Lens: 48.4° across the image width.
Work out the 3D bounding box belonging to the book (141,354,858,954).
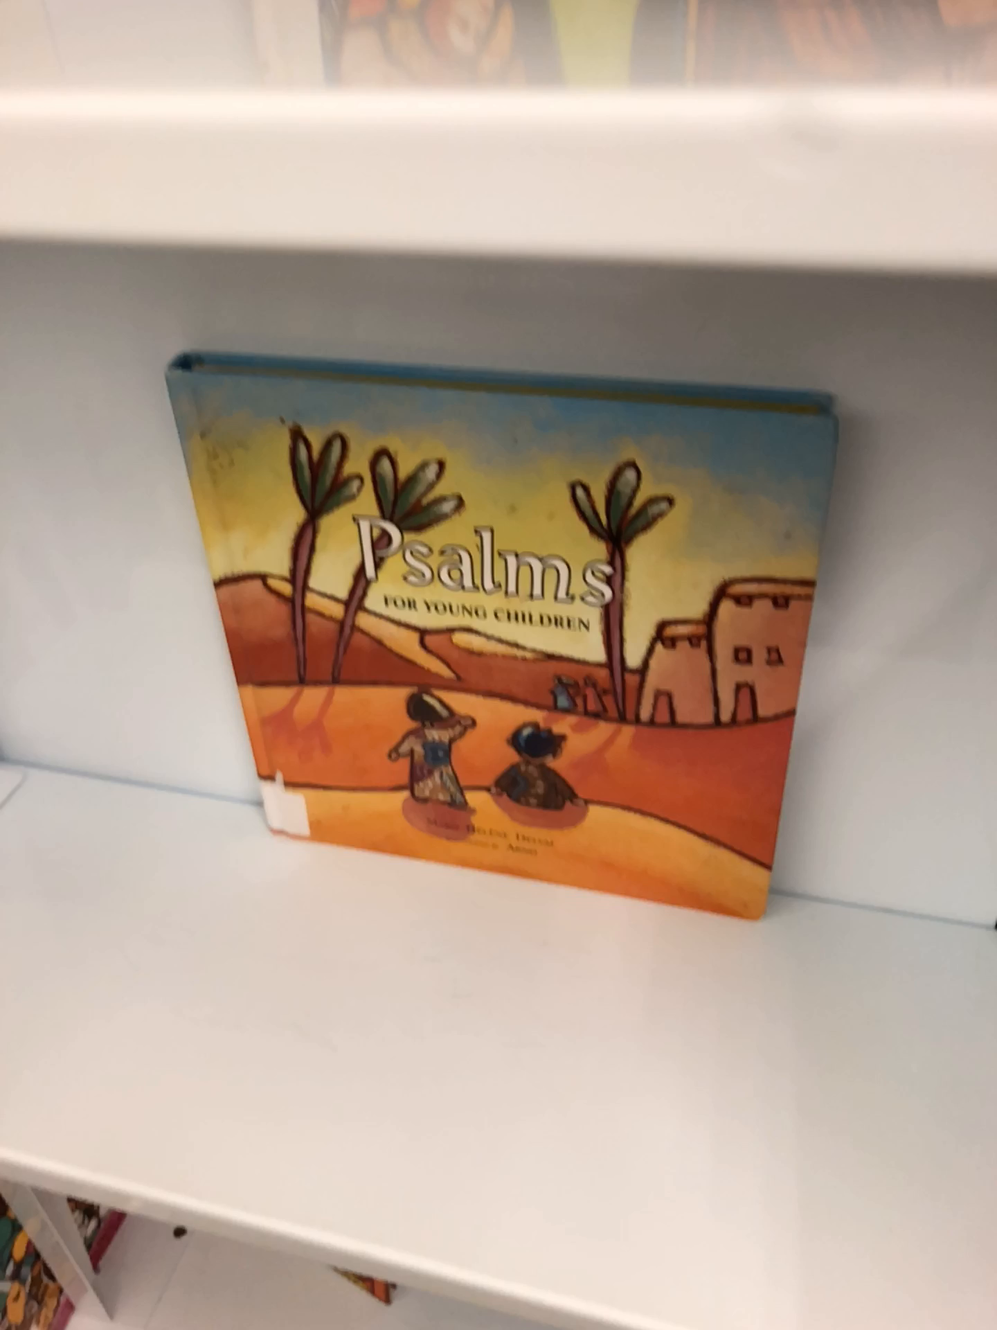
[{"bbox_3d":[-0.002,0.004,0.384,0.212,0.205,0.021,8,37,13],"label":"book"}]
